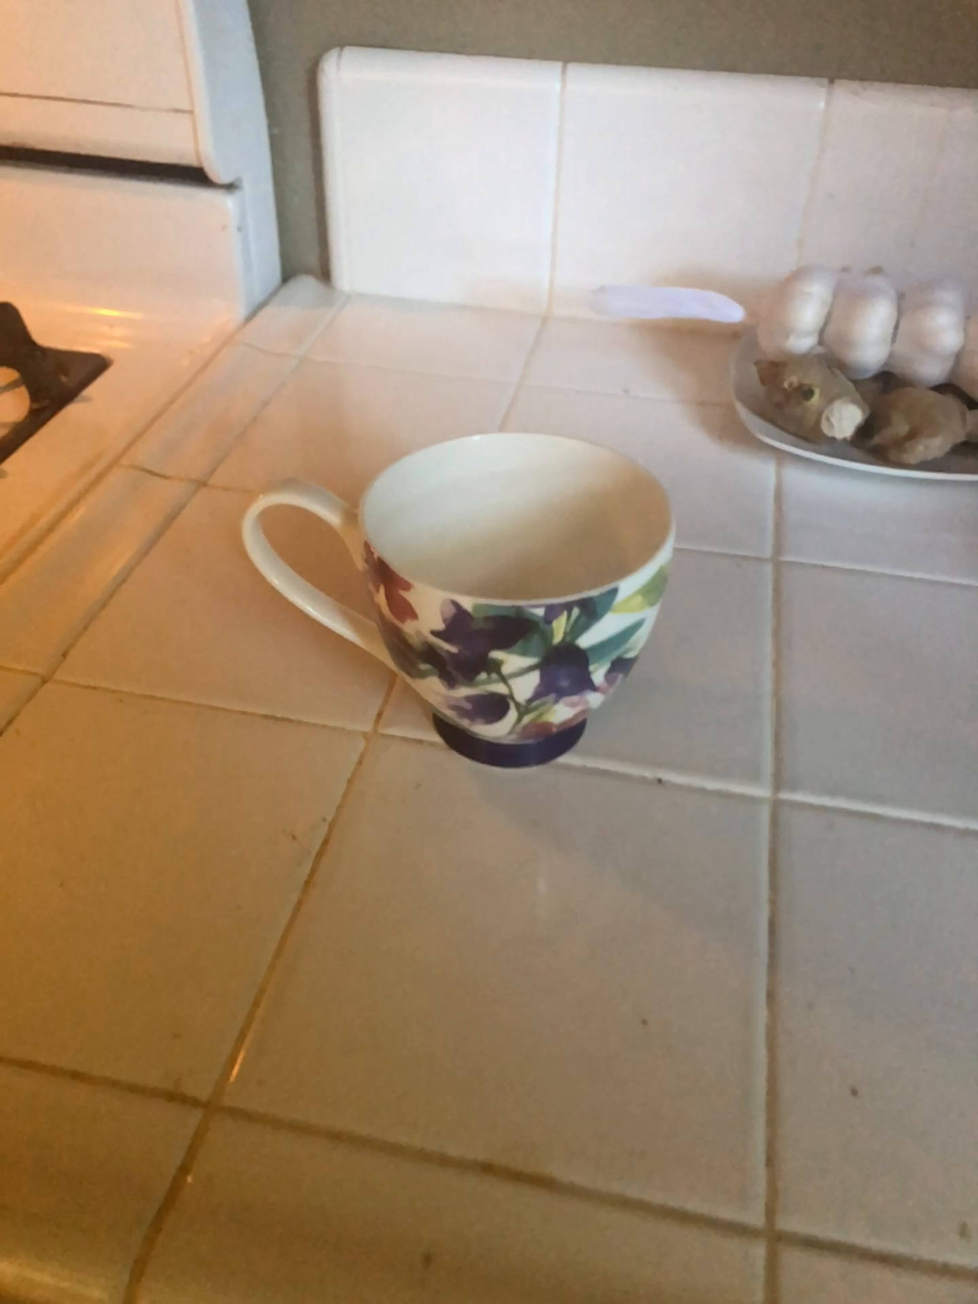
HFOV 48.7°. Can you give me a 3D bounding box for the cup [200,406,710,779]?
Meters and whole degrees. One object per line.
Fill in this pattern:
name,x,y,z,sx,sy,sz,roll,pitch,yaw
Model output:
cup,-0.012,-0.025,0.385,0.150,0.079,0.111,-1,40,-3
